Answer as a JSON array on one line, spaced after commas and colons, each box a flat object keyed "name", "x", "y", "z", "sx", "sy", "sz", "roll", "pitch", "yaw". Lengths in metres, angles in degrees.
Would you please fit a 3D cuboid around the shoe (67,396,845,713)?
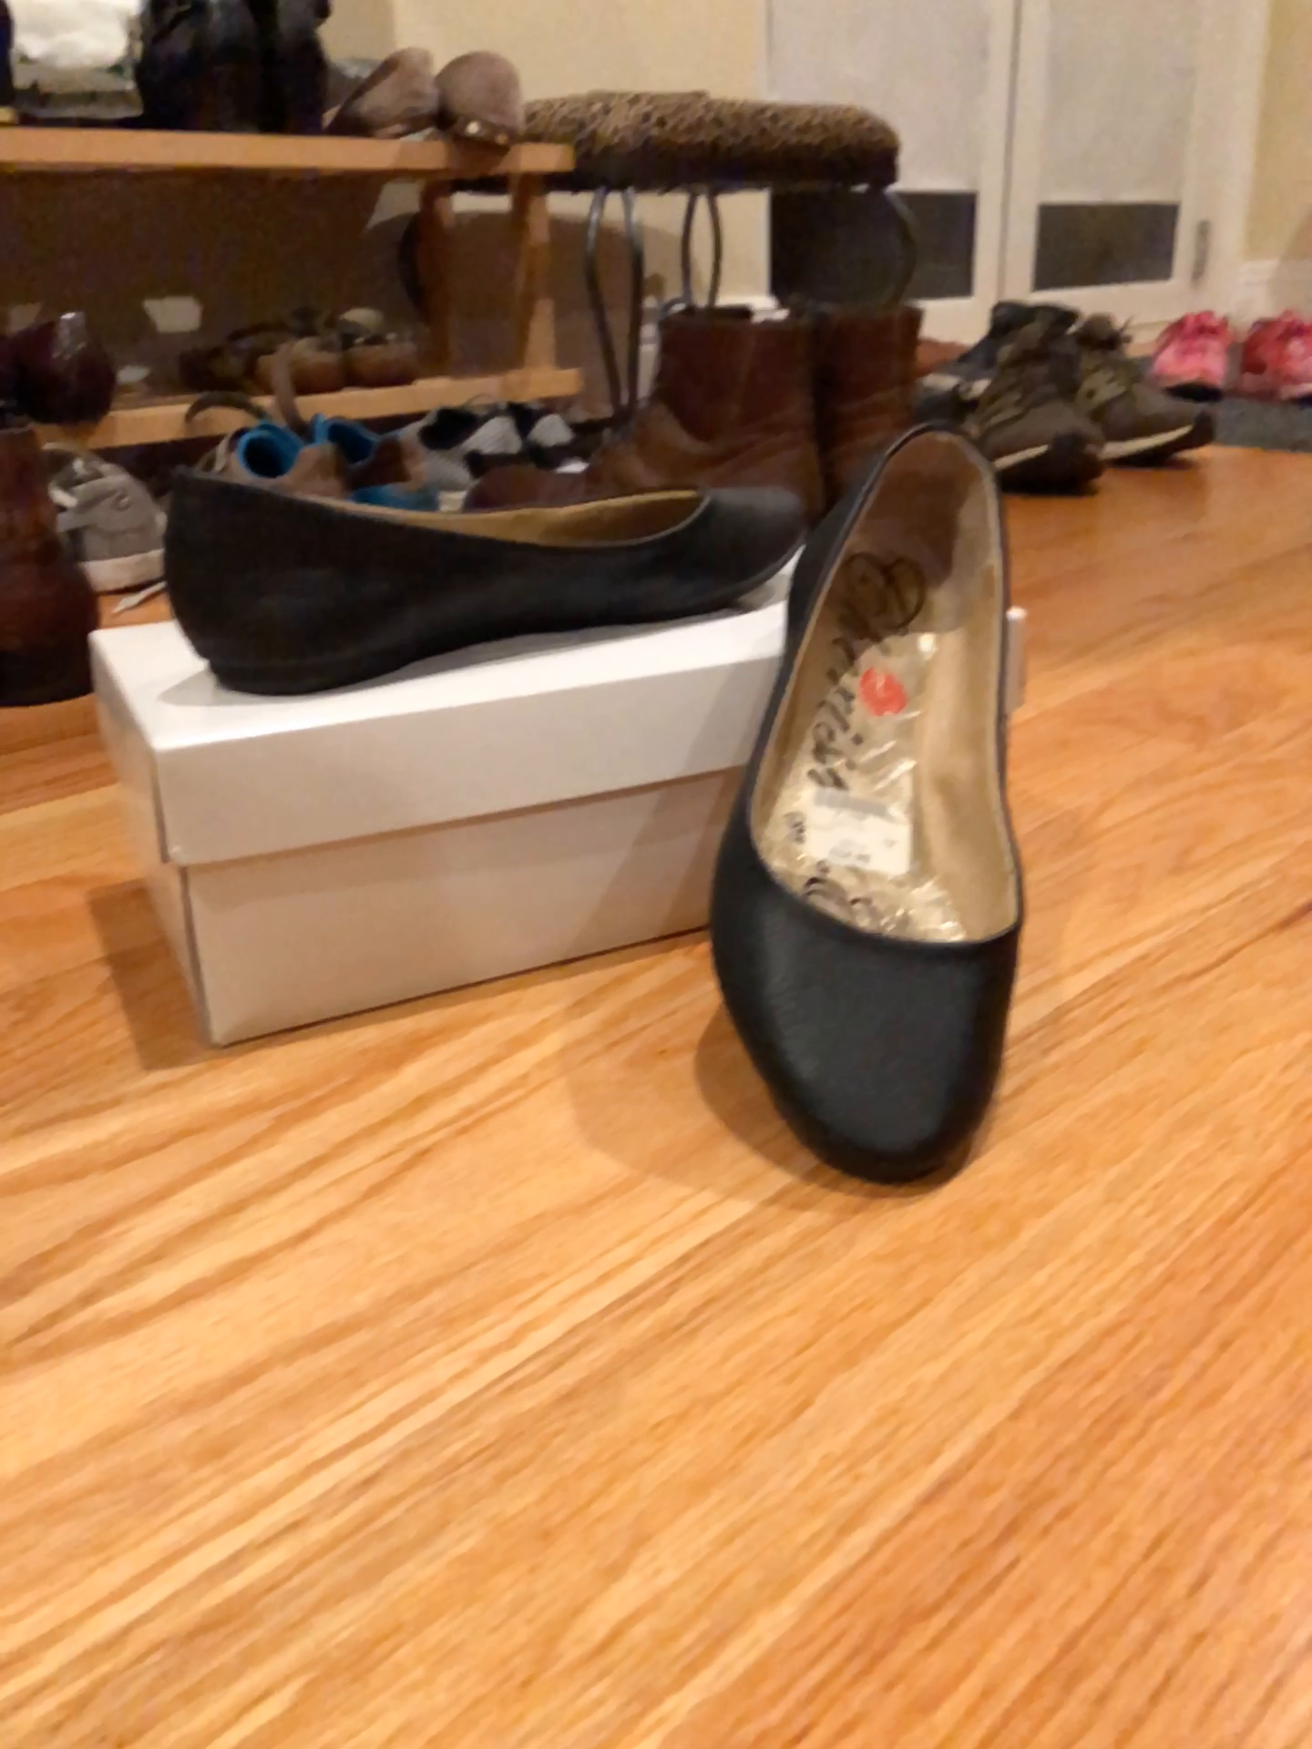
[{"name": "shoe", "x": -0.053, "y": -0.113, "z": 0.472, "sx": 0.240, "sy": 0.060, "sz": 0.076, "roll": -17, "pitch": 28, "yaw": -32}]

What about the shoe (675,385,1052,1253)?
[{"name": "shoe", "x": 0.064, "y": -0.026, "z": 0.410, "sx": 0.076, "sy": 0.060, "sz": 0.241, "roll": 12, "pitch": 59, "yaw": -5}]
